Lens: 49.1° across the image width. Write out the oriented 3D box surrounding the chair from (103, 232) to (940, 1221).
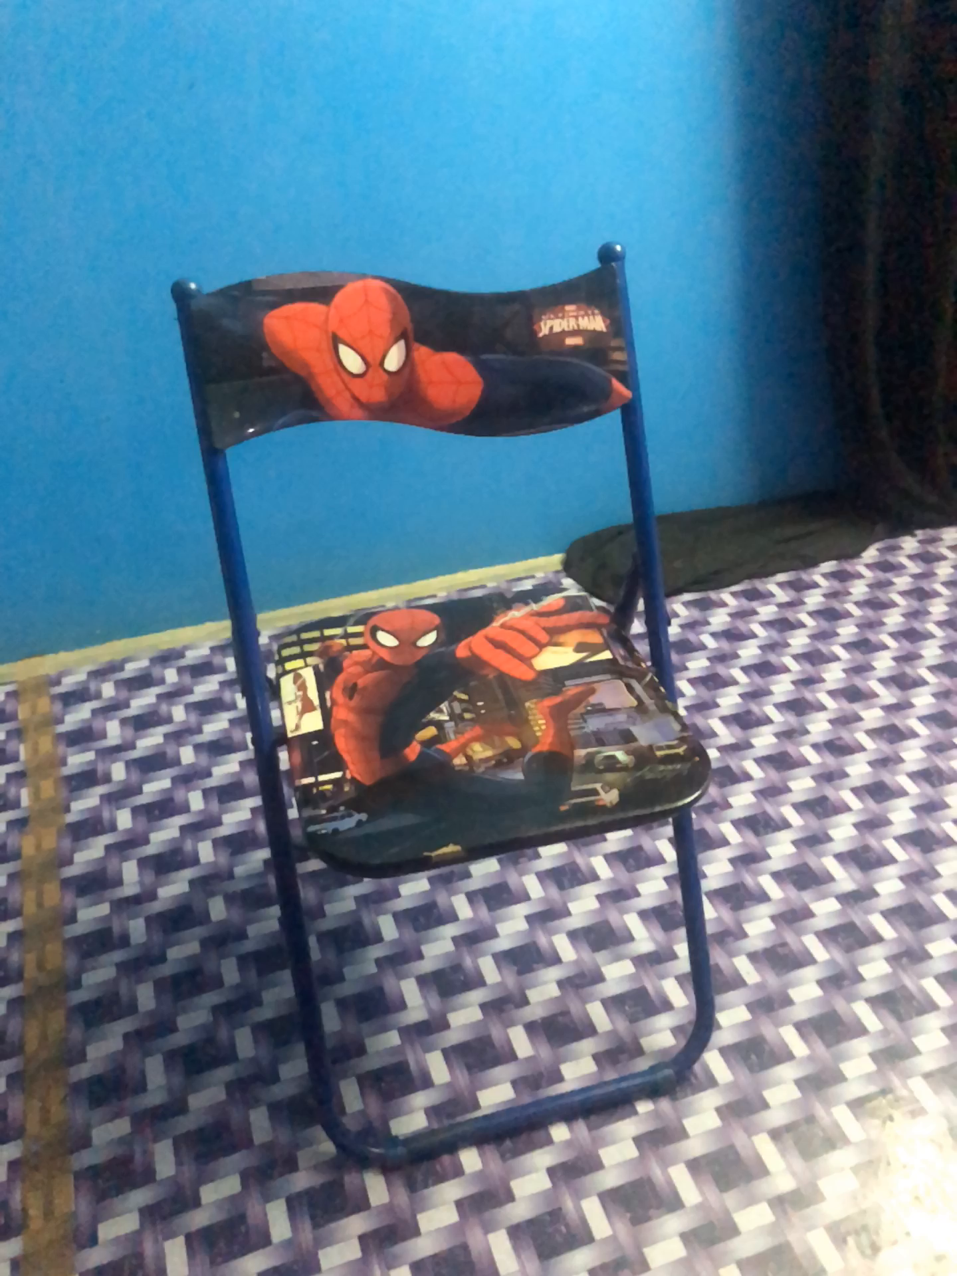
[{"bbox_3d":[-0.032,0.045,1.030,0.511,0.686,0.562,-10,36,-14],"label":"chair"}]
